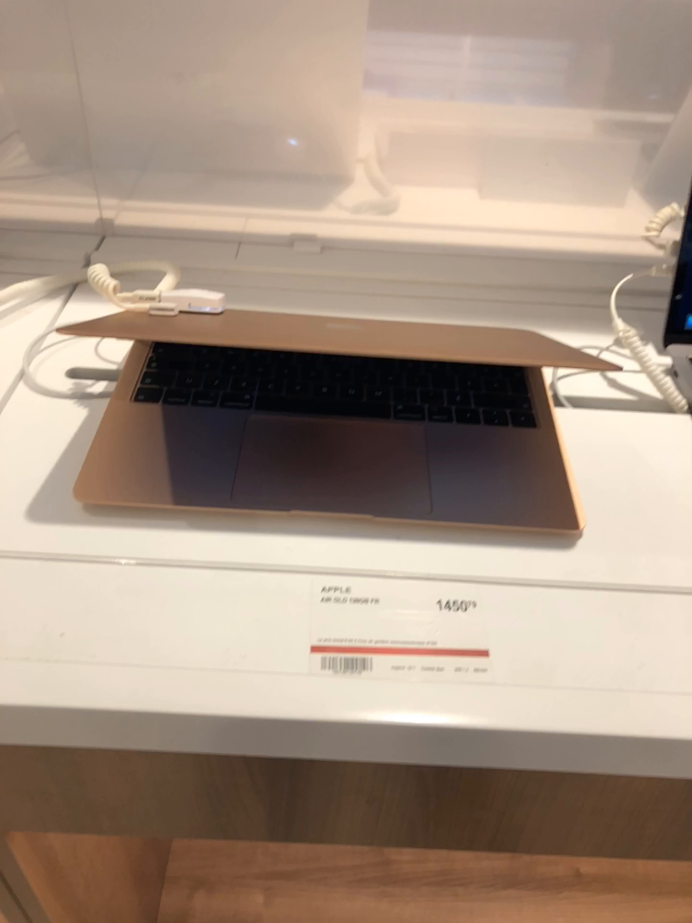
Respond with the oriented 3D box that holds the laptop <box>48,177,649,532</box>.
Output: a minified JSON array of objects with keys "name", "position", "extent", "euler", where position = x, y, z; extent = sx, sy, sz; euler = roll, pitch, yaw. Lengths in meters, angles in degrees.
[{"name":"laptop","position":[-0.006,-0.085,0.499],"extent":[0.298,0.104,0.226],"euler":[4,40,2]}]
